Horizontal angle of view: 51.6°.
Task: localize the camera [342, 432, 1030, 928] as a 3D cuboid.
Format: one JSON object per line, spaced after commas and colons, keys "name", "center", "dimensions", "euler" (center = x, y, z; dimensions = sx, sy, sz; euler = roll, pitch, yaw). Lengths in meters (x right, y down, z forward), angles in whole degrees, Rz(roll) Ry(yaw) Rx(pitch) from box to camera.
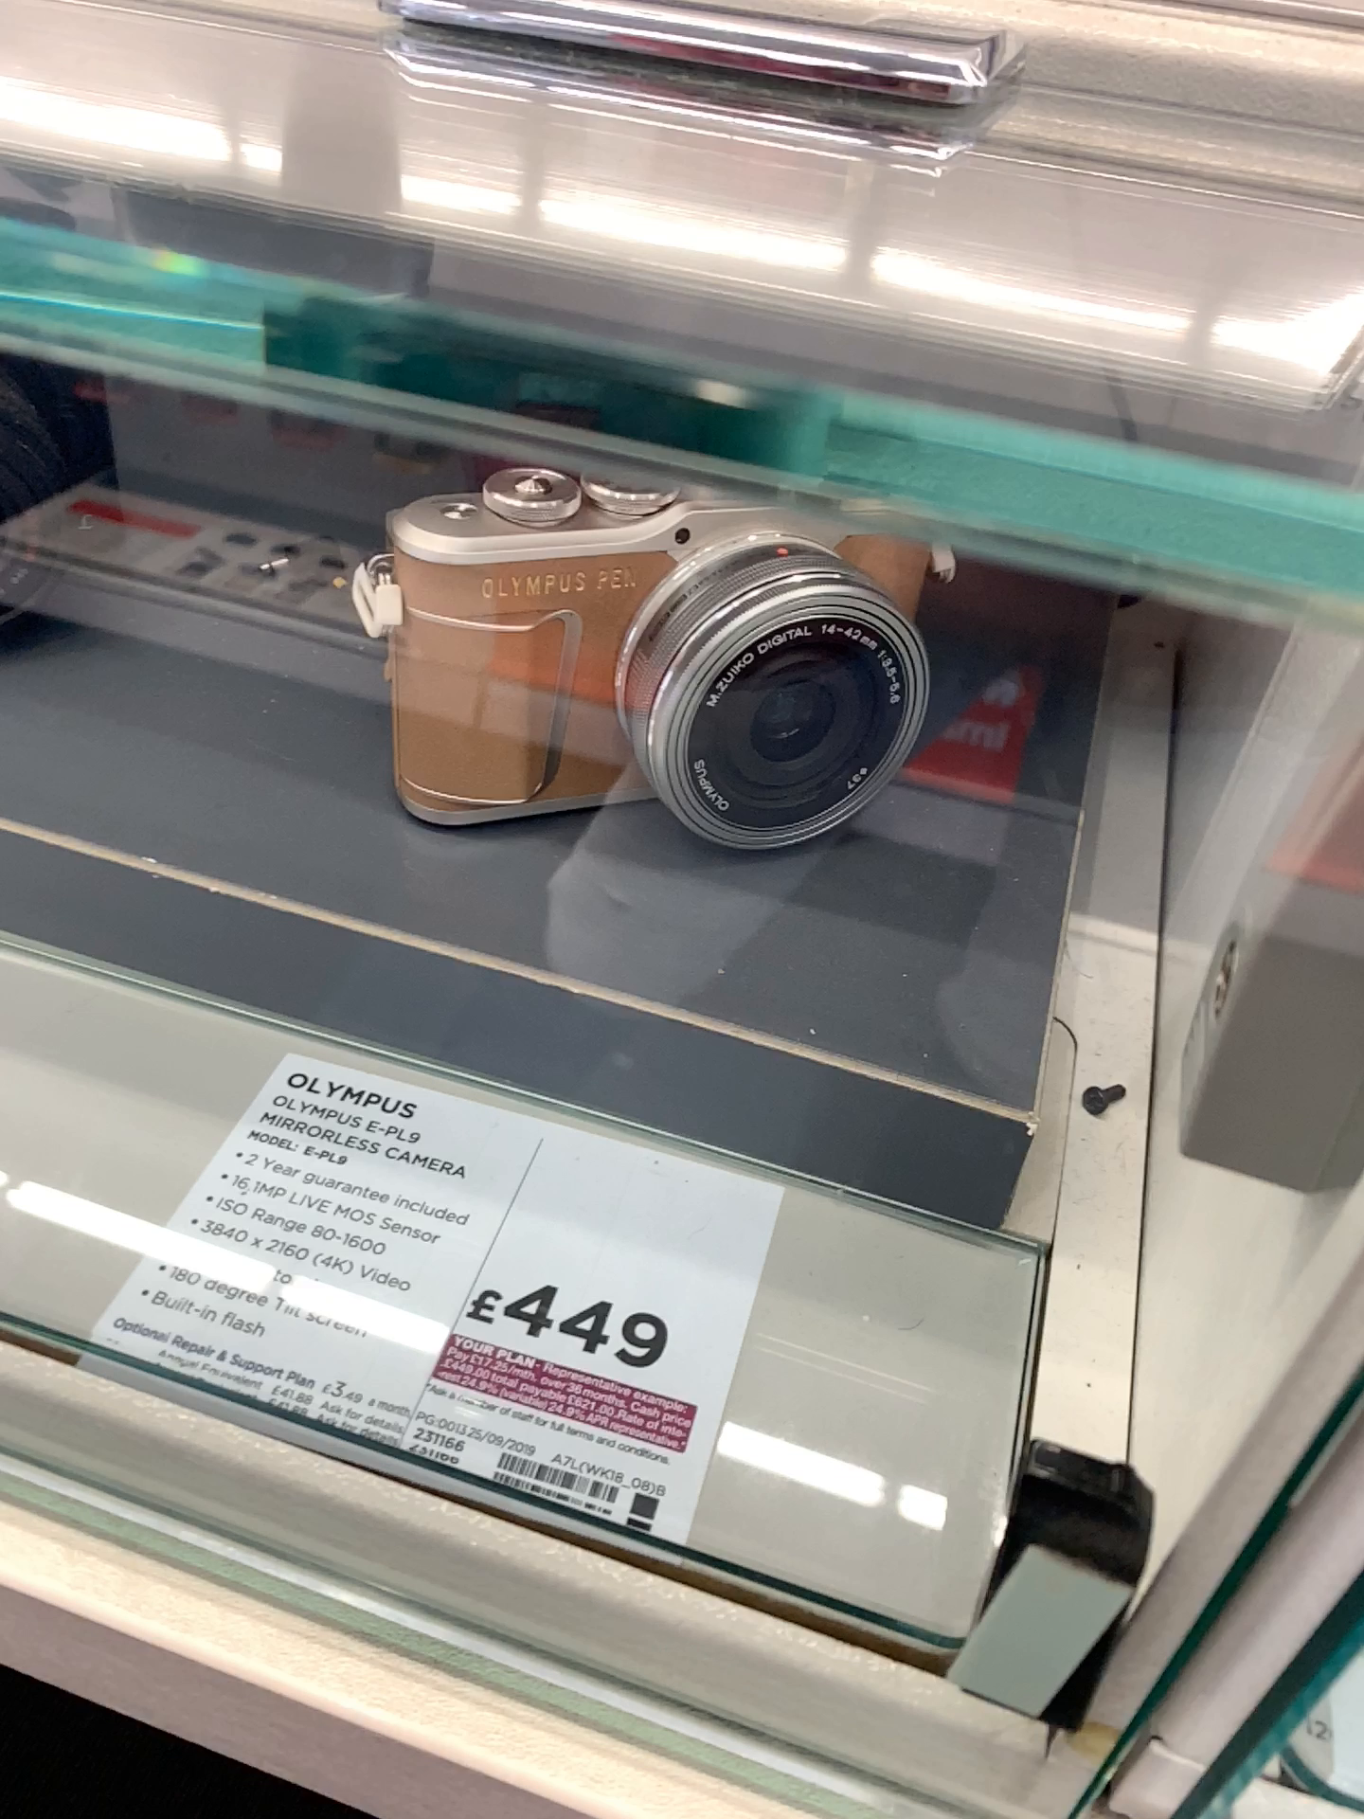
{"name": "camera", "center": [-0.003, -0.051, 0.294], "dimensions": [0.120, 0.069, 0.061], "euler": [-10, 41, -20]}
